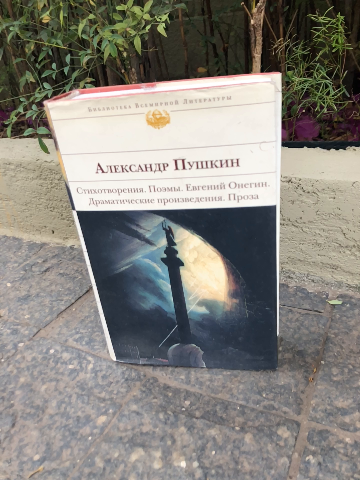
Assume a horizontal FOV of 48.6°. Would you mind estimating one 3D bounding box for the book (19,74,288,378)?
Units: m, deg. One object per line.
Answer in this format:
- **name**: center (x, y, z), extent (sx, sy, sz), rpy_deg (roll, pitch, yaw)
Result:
- **book**: center (-0.006, 0.000, 0.284), extent (0.150, 0.204, 0.050), rpy_deg (0, 27, 10)
